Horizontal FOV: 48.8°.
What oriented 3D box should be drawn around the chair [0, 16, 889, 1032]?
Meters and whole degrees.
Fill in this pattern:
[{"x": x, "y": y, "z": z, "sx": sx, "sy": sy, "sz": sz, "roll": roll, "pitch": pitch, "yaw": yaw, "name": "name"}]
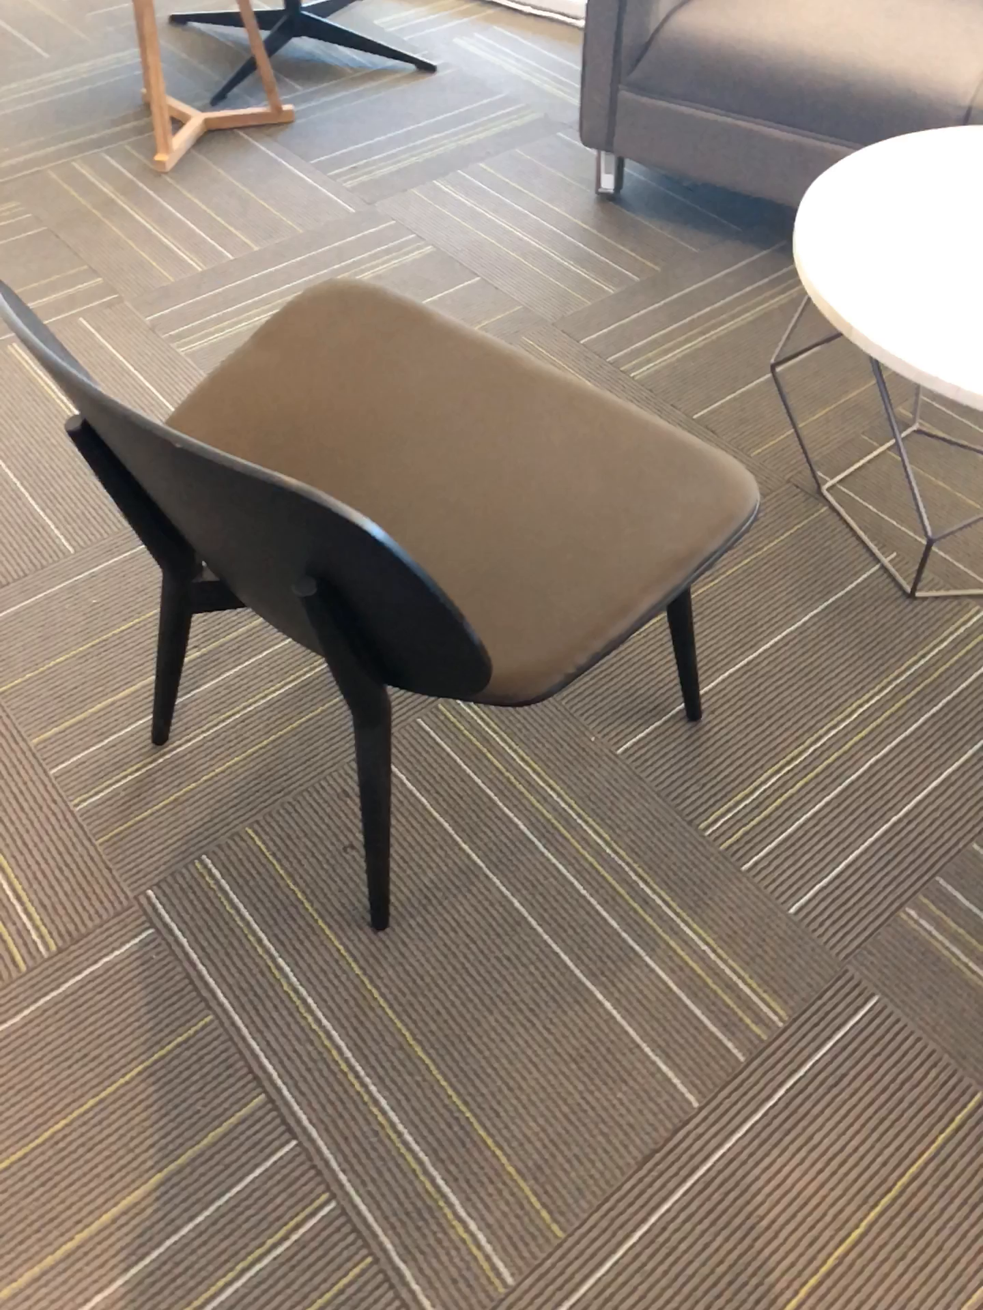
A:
[{"x": -0.097, "y": -0.179, "z": 1.308, "sx": 0.671, "sy": 0.737, "sz": 0.741, "roll": 31, "pitch": 56, "yaw": 24, "name": "chair"}]
